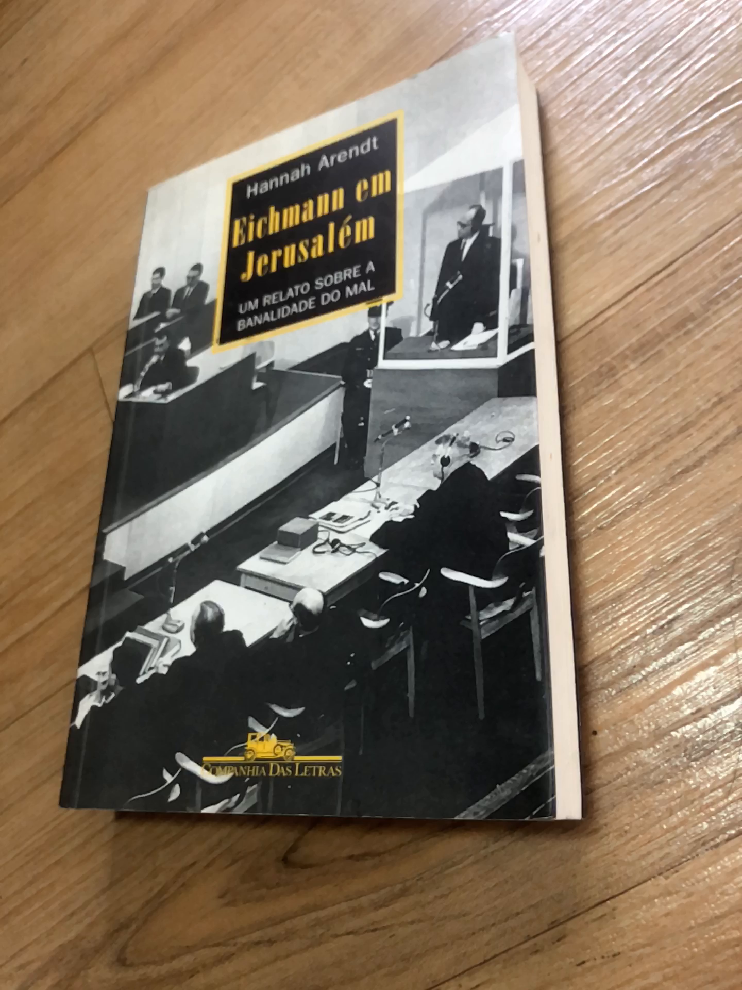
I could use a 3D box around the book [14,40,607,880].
[{"bbox_3d":[-0.020,-0.012,0.226,0.144,0.023,0.203,-10,66,27],"label":"book"}]
